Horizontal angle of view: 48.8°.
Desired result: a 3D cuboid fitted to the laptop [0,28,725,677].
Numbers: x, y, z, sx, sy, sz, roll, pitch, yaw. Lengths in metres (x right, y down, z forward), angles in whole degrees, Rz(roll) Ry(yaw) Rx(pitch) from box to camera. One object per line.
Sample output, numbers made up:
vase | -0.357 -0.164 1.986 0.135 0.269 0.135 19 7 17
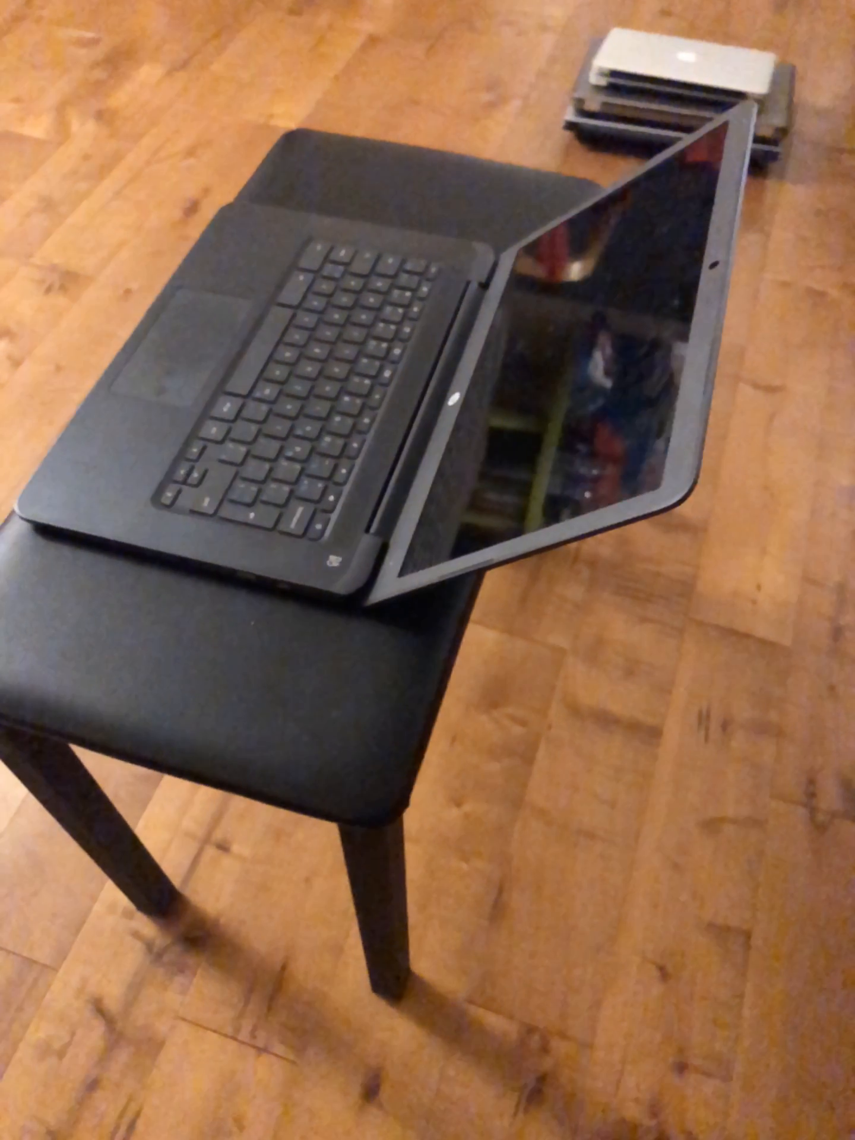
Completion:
laptop | -0.034 -0.151 0.573 0.362 0.144 0.318 14 55 7
